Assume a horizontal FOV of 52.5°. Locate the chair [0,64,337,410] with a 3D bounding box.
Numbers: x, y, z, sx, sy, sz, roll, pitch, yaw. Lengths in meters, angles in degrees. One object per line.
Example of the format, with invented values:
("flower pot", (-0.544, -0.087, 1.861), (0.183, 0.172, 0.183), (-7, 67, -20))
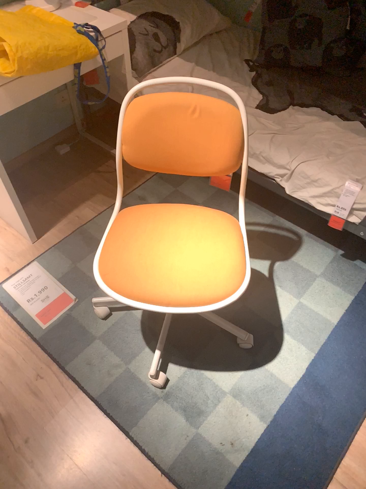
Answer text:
("chair", (0.005, -0.001, 1.107), (0.610, 0.708, 0.652), (8, 52, 6))
